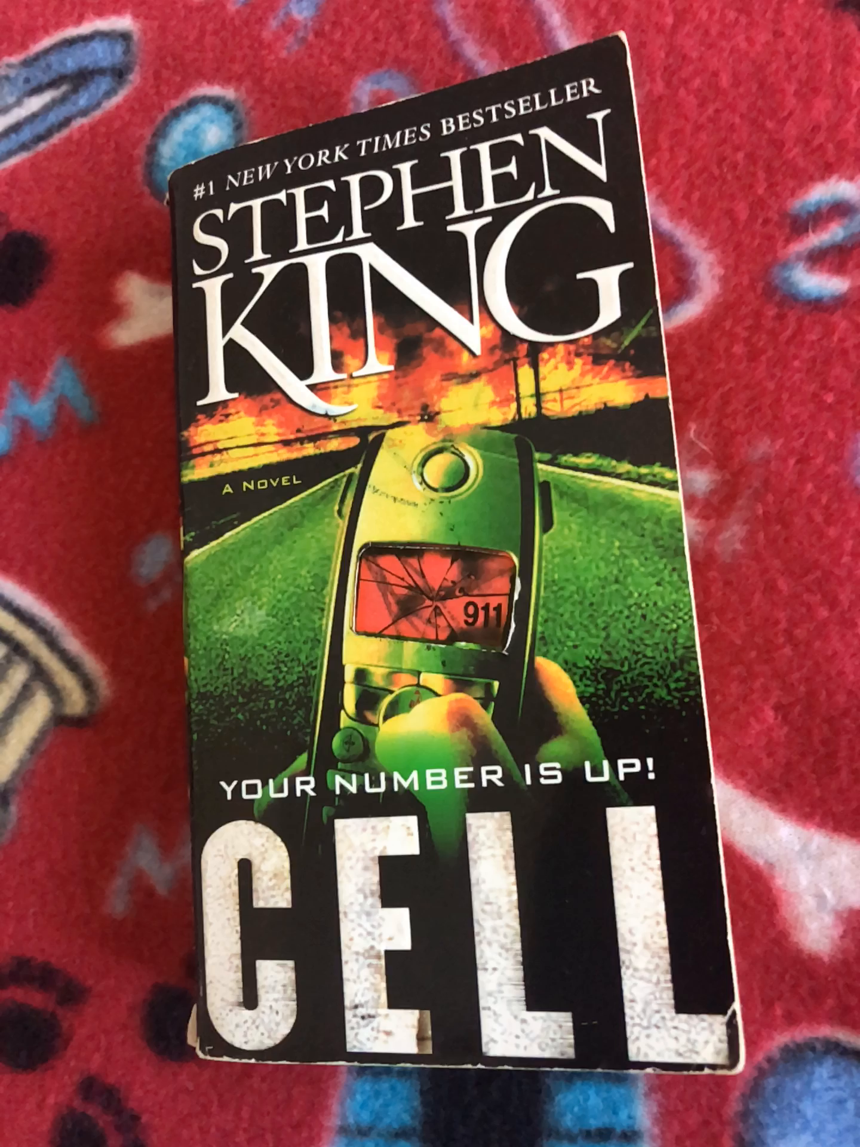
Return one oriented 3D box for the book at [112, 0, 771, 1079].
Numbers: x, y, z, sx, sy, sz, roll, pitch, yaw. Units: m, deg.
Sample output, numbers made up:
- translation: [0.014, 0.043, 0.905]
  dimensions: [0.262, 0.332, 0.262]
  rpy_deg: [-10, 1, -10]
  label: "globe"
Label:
- translation: [-0.004, -0.007, 0.203]
  dimensions: [0.120, 0.030, 0.200]
  rpy_deg: [-6, 81, 14]
  label: "book"
